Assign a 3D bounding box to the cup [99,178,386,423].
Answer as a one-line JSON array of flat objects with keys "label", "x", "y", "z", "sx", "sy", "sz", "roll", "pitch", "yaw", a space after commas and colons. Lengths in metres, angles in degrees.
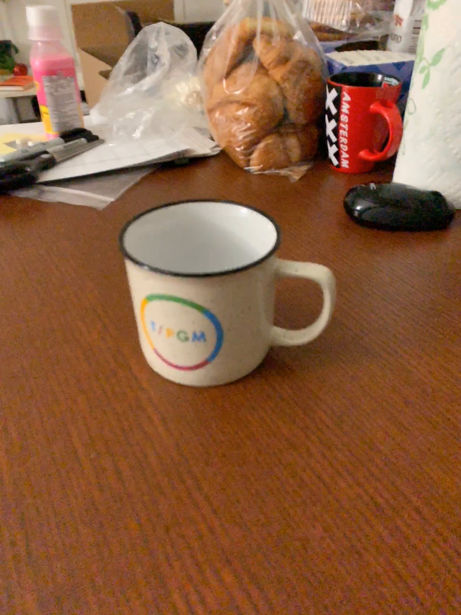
[{"label": "cup", "x": 0.014, "y": -0.012, "z": 0.311, "sx": 0.150, "sy": 0.099, "sz": 0.100, "roll": 10, "pitch": 38, "yaw": 14}]
